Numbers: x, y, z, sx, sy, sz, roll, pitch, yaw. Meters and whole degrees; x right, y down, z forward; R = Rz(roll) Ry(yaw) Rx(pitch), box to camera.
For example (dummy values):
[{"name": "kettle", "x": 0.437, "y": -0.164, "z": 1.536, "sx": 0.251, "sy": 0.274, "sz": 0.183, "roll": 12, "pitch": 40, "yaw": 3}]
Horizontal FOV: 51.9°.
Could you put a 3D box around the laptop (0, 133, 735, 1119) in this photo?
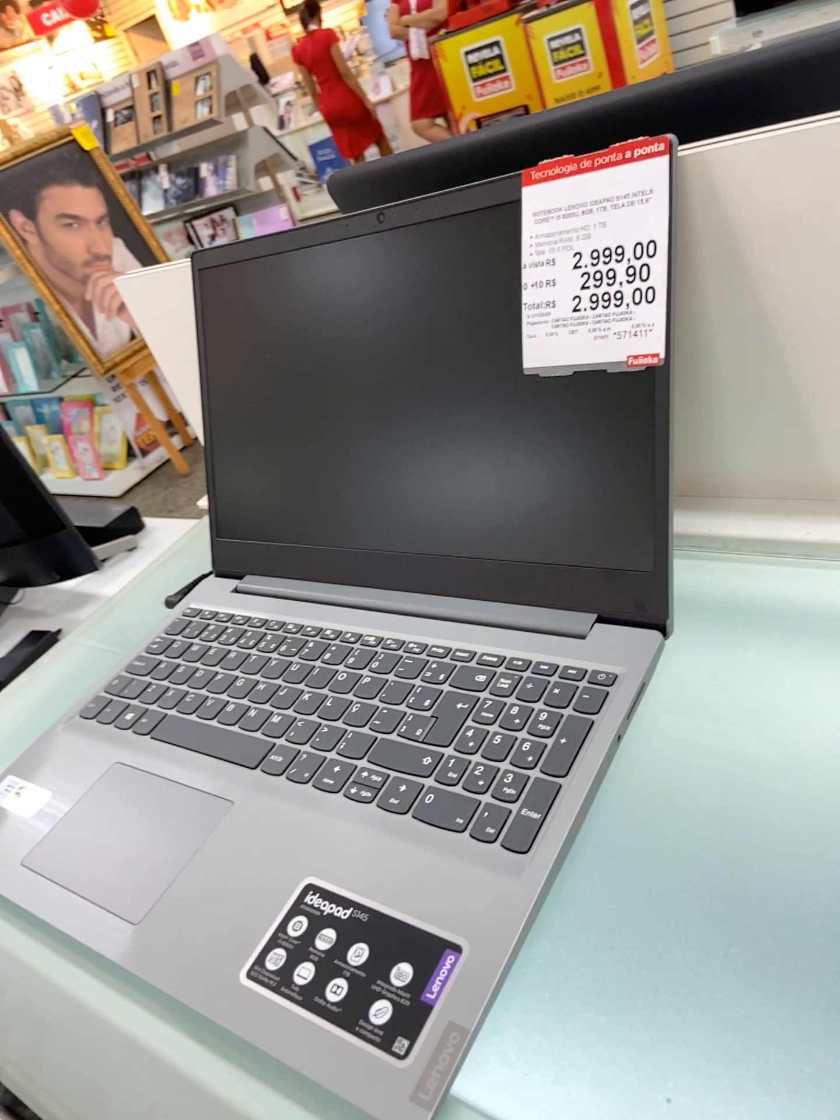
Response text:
[{"name": "laptop", "x": -0.082, "y": -0.019, "z": 0.448, "sx": 0.354, "sy": 0.195, "sz": 0.370, "roll": 4, "pitch": 41, "yaw": 37}]
